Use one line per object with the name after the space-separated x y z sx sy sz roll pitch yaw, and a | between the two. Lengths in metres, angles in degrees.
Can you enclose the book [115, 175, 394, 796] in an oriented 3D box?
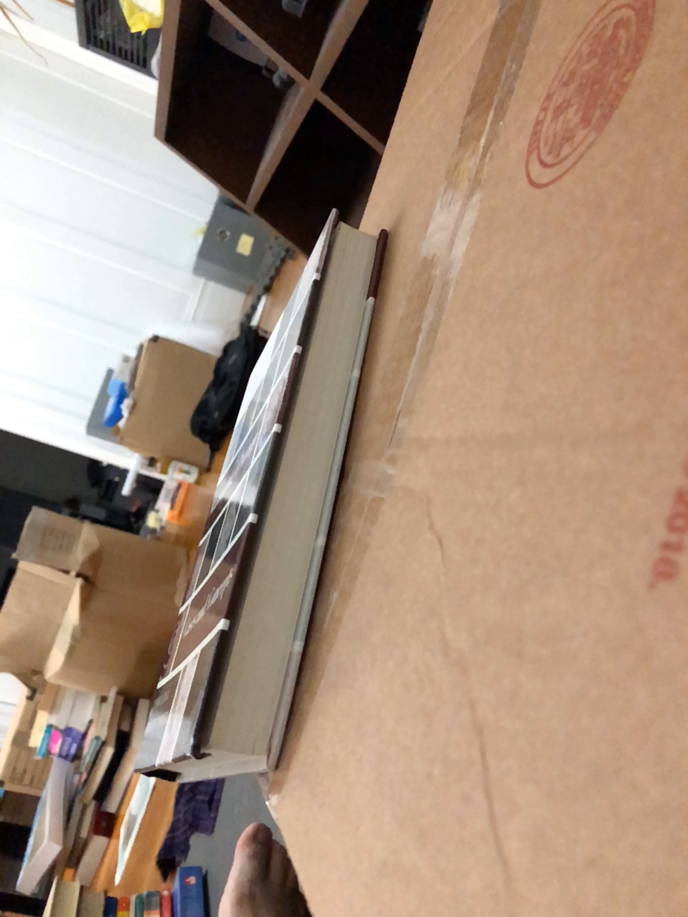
-0.045 0.022 0.361 0.180 0.030 0.250 134 151 -58 | book
